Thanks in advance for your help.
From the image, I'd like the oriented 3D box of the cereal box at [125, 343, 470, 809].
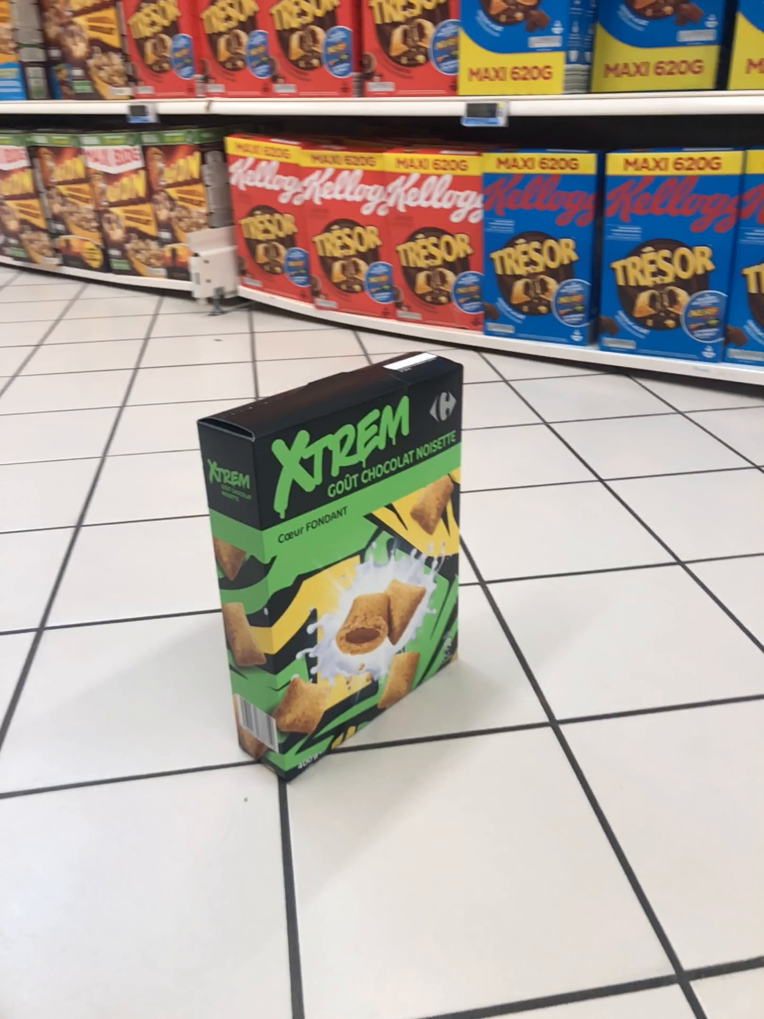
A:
[{"bbox_3d":[-0.042,0.033,0.563,0.090,0.239,0.201,21,33,39],"label":"cereal box"}]
